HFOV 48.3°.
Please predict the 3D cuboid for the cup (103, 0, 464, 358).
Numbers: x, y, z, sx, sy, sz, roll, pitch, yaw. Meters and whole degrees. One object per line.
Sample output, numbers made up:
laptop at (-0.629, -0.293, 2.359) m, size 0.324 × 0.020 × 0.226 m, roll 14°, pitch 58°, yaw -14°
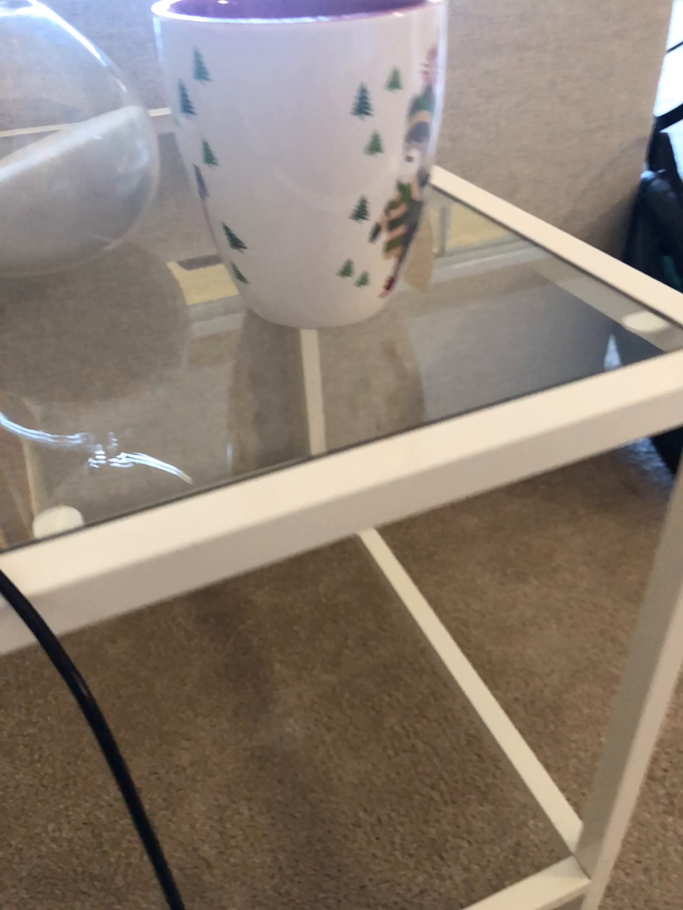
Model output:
cup at (-0.013, -0.126, 0.303) m, size 0.100 × 0.109 × 0.151 m, roll -1°, pitch 37°, yaw 2°
